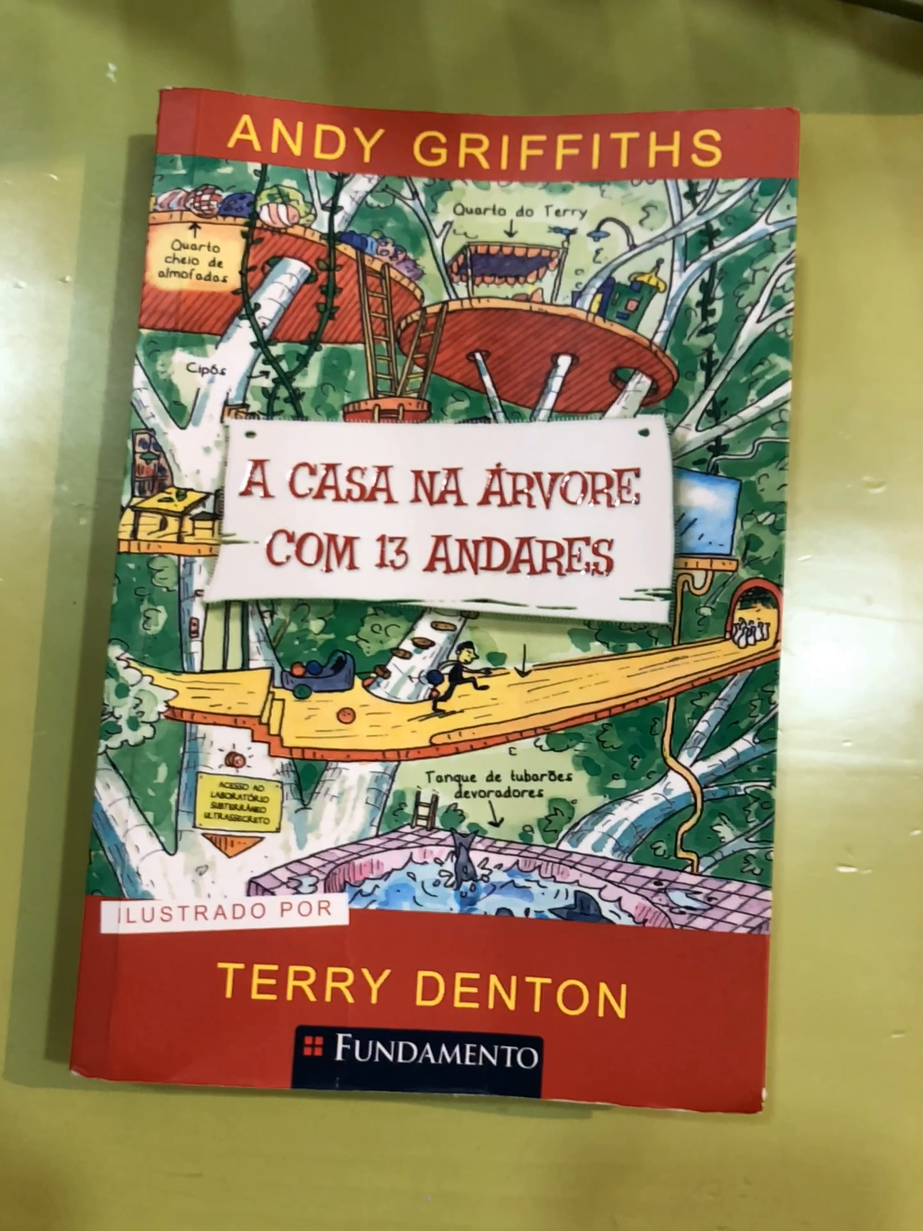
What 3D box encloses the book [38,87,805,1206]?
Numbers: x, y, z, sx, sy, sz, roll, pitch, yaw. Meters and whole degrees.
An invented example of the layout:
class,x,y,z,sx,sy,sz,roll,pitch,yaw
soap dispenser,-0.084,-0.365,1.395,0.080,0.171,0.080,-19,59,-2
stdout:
class,x,y,z,sx,sy,sz,roll,pitch,yaw
book,-0.004,0.002,0.220,0.137,0.040,0.210,3,84,0
